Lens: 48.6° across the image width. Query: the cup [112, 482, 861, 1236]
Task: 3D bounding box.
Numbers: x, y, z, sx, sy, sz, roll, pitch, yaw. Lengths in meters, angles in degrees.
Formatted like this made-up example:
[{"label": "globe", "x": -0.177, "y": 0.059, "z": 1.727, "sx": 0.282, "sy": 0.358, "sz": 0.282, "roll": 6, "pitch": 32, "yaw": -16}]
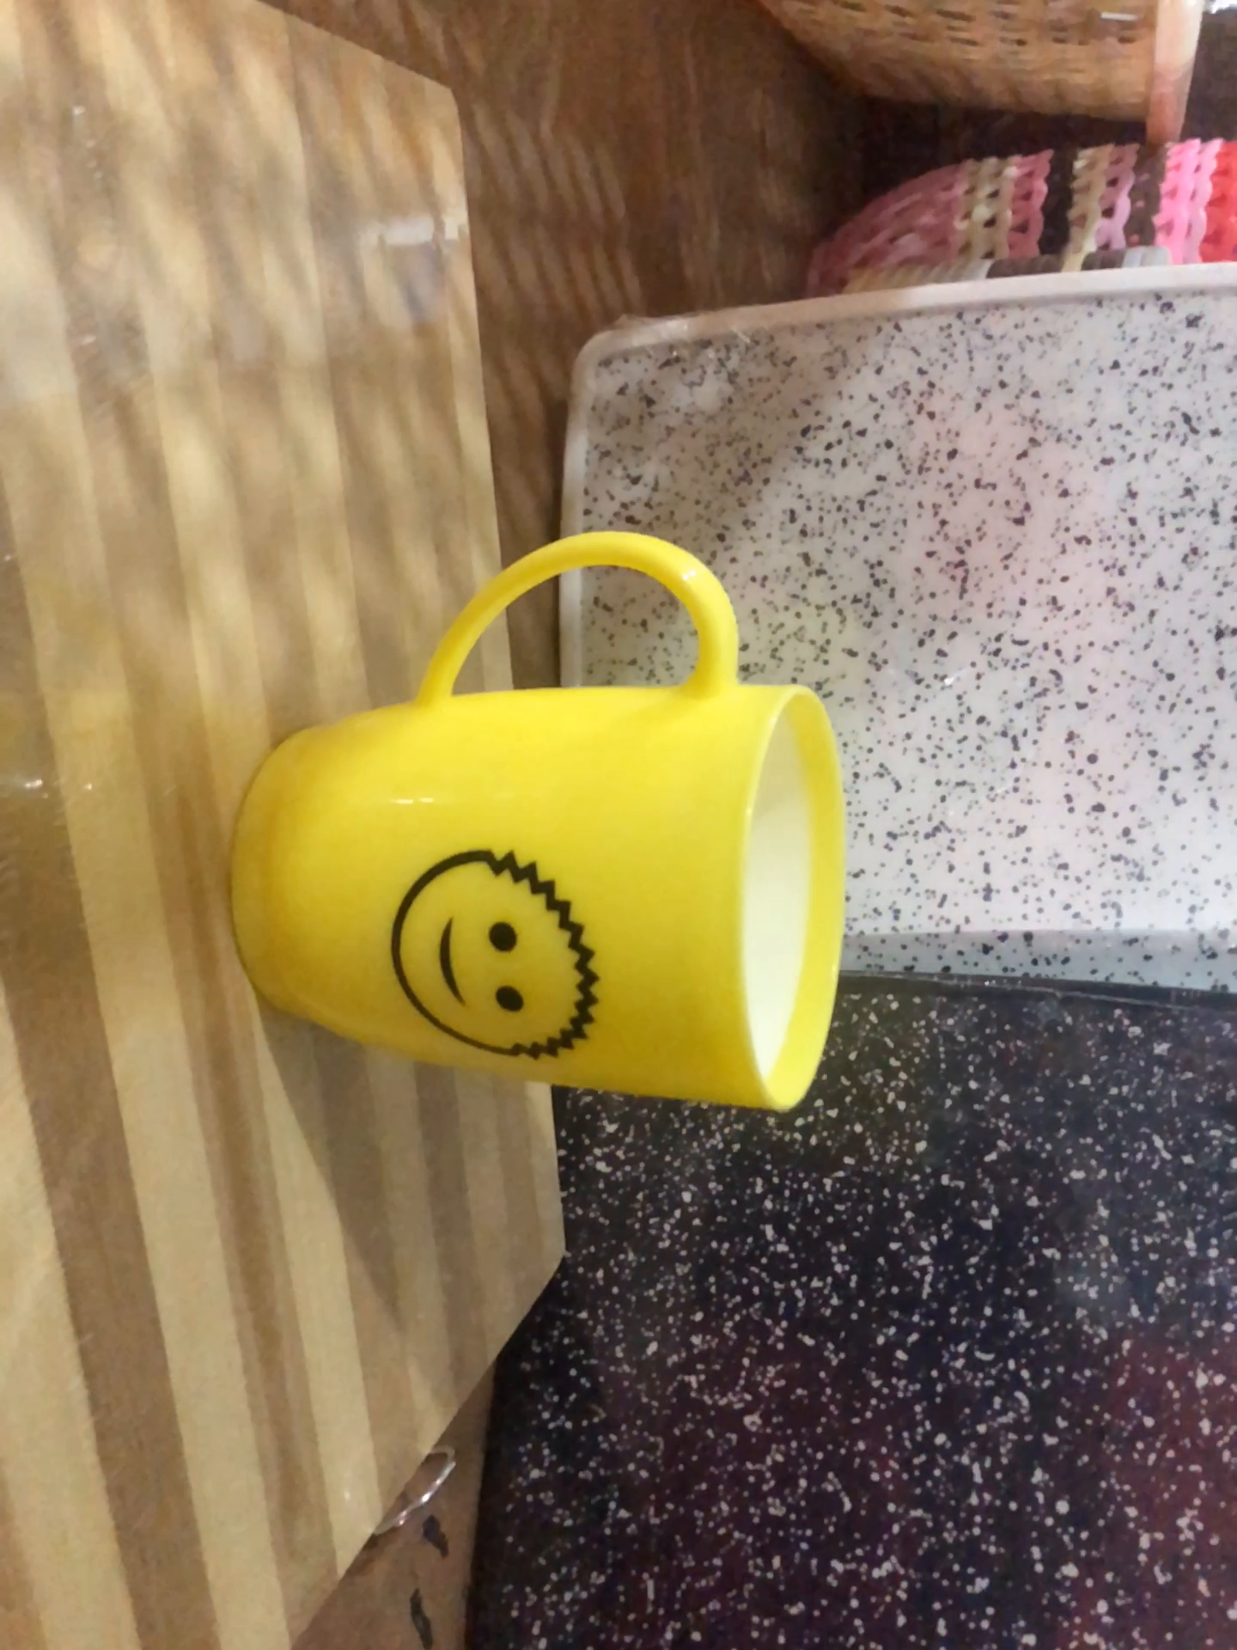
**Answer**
[{"label": "cup", "x": -0.015, "y": 0.000, "z": 0.256, "sx": 0.080, "sy": 0.099, "sz": 0.110, "roll": -42, "pitch": 130, "yaw": -62}]
